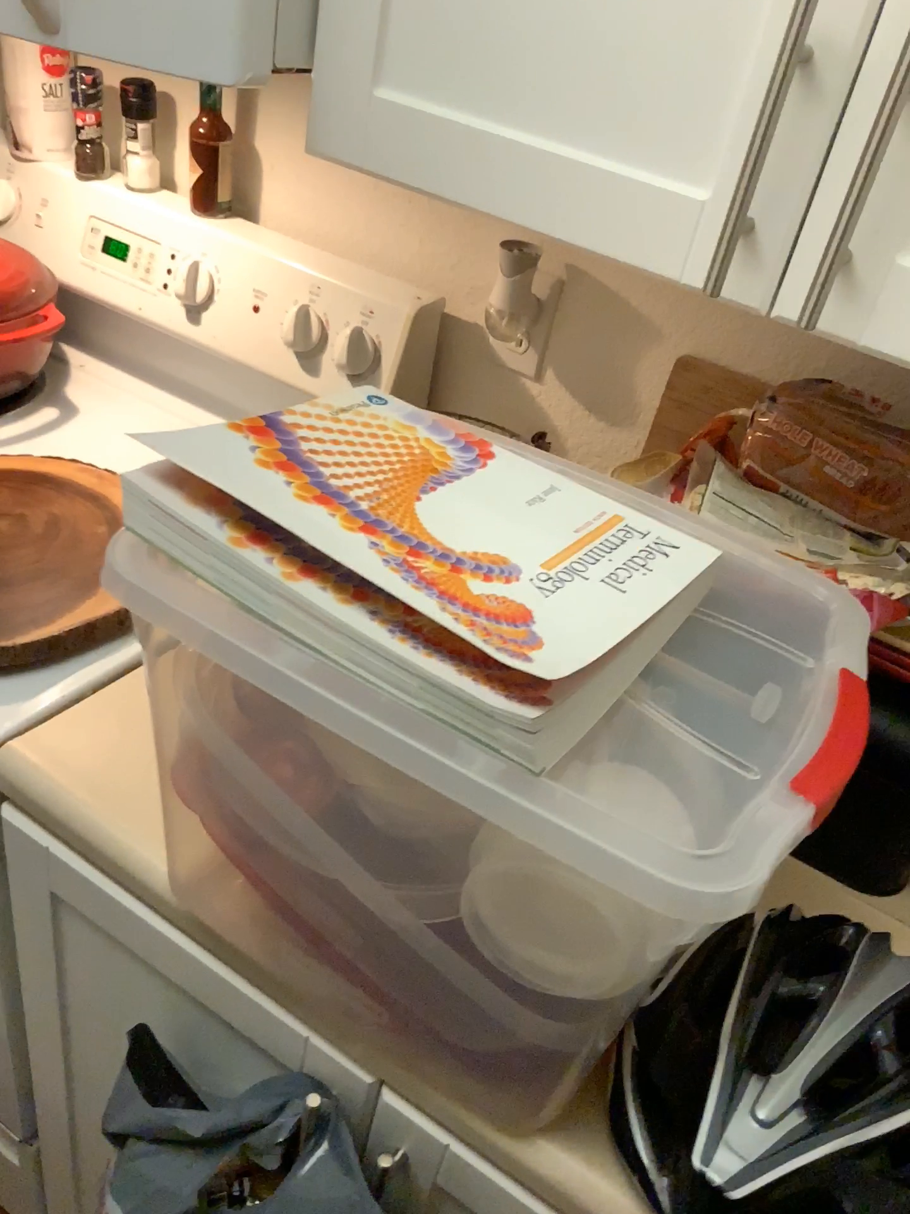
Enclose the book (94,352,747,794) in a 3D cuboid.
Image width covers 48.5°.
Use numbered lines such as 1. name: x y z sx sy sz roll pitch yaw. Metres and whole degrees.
1. book: -0.012 -0.046 0.579 0.290 0.050 0.230 28 38 20
